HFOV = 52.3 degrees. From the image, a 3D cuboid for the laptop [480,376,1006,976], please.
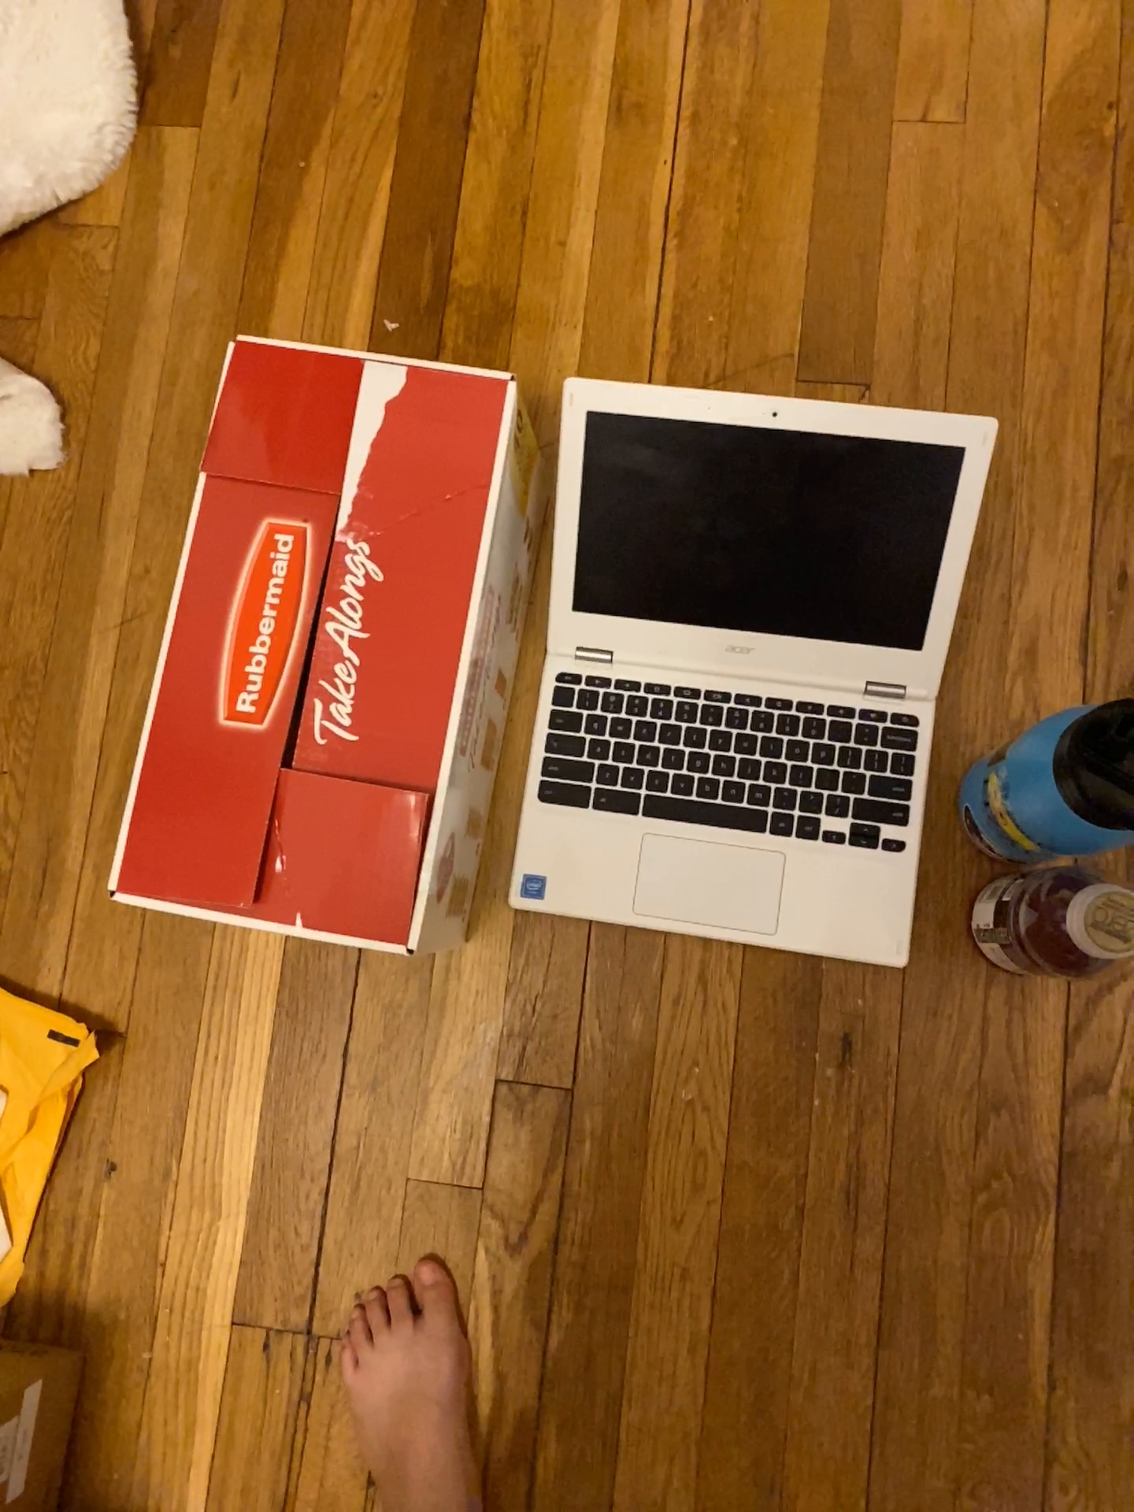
[{"bbox_3d":[0.120,-0.055,0.800,0.289,0.110,0.364,8,83,8],"label":"laptop"}]
